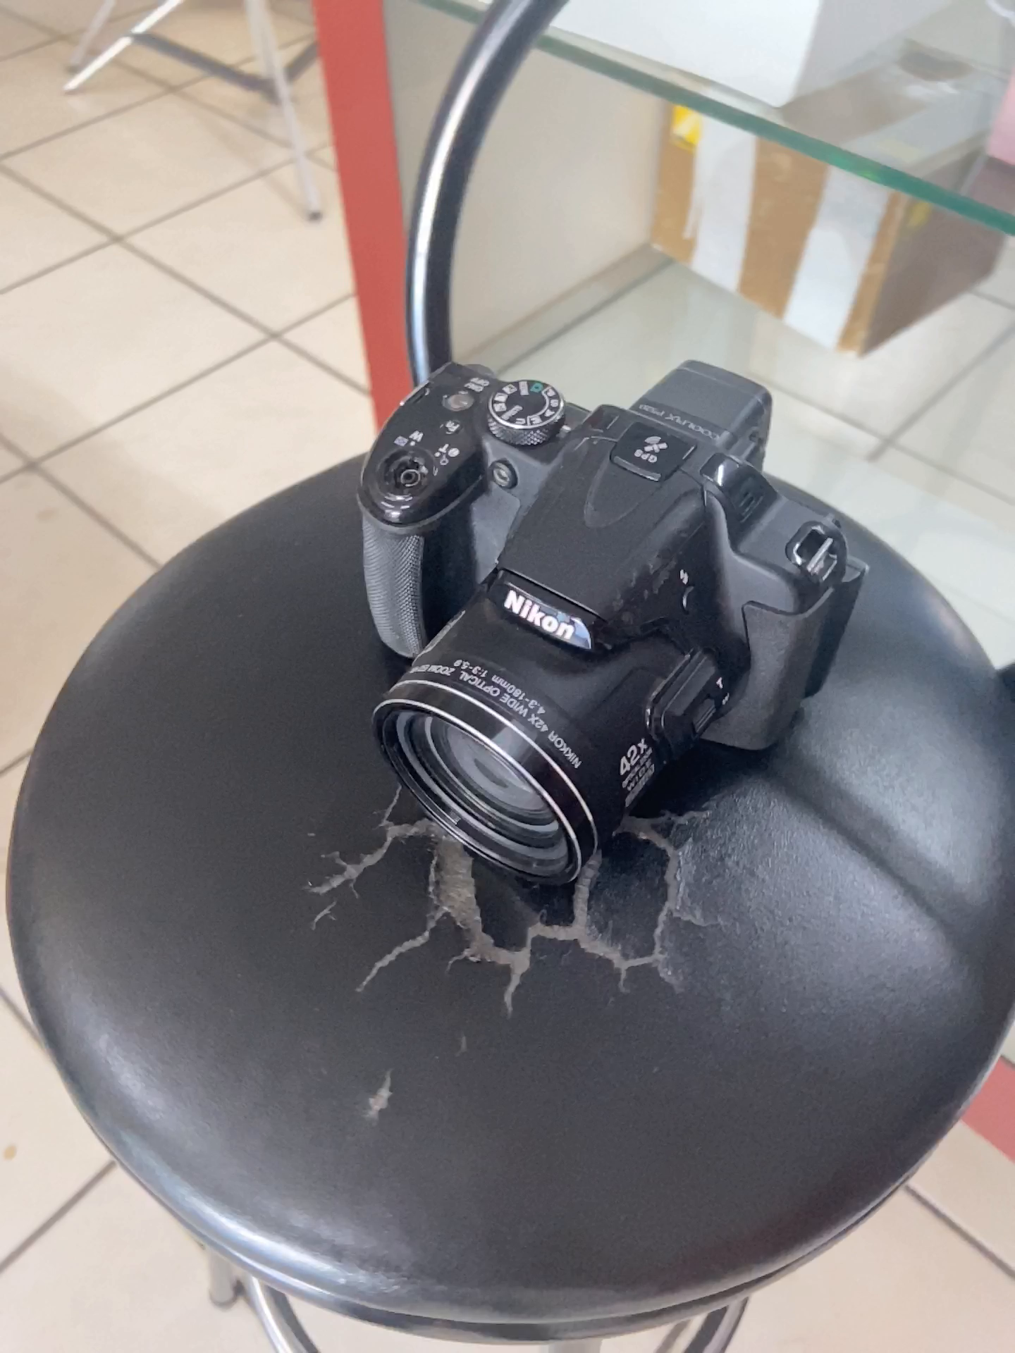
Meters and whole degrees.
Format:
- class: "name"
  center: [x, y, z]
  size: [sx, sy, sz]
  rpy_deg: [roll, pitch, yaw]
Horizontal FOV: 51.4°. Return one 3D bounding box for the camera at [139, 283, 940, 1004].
- class: "camera"
  center: [0.010, -0.018, 0.257]
  size: [0.130, 0.070, 0.120]
  rpy_deg: [28, 56, 22]
